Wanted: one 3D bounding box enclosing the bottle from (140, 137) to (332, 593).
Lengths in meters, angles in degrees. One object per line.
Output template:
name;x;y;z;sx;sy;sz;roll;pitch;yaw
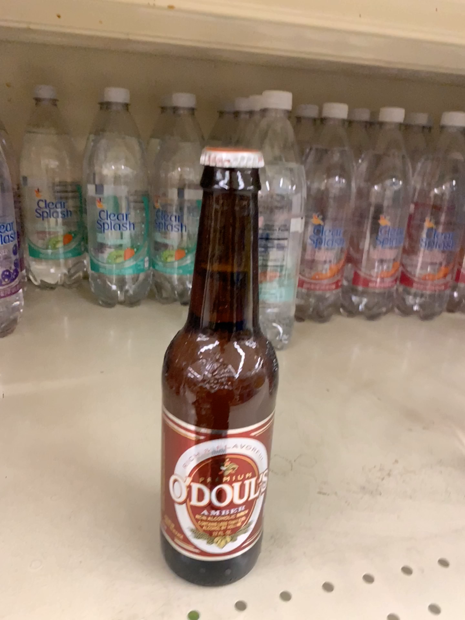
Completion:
bottle;-0.008;0.032;0.245;0.070;0.219;0.070;3;21;-1
